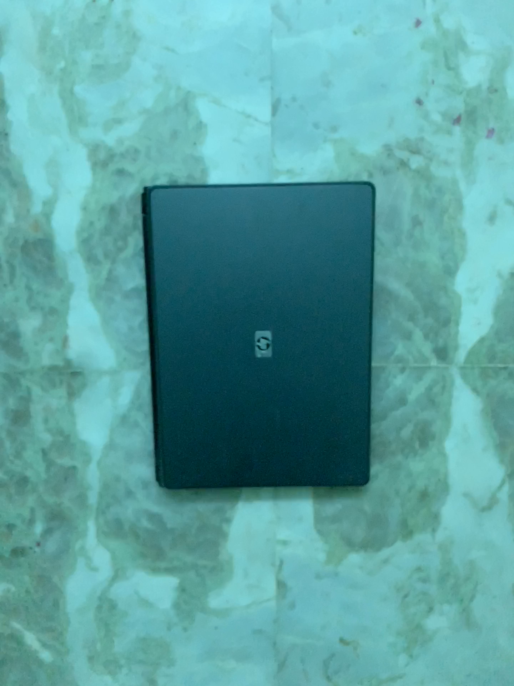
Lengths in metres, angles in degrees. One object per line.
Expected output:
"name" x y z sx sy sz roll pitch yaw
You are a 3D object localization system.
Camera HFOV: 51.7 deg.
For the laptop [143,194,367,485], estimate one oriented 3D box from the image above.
"laptop" 0.001 0.004 0.563 0.226 0.001 0.311 -1 100 3
